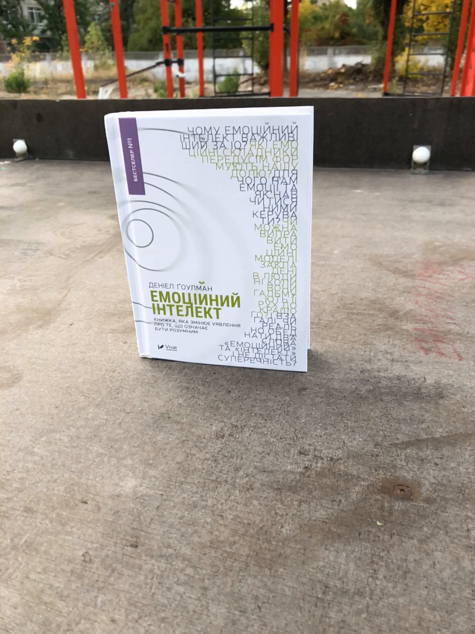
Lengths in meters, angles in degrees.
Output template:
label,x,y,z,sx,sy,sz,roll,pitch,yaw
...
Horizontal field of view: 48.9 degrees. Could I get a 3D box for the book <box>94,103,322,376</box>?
label,x,y,z,sx,sy,sz,roll,pitch,yaw
book,-0.018,-0.061,0.431,0.160,0.209,0.050,4,27,11
